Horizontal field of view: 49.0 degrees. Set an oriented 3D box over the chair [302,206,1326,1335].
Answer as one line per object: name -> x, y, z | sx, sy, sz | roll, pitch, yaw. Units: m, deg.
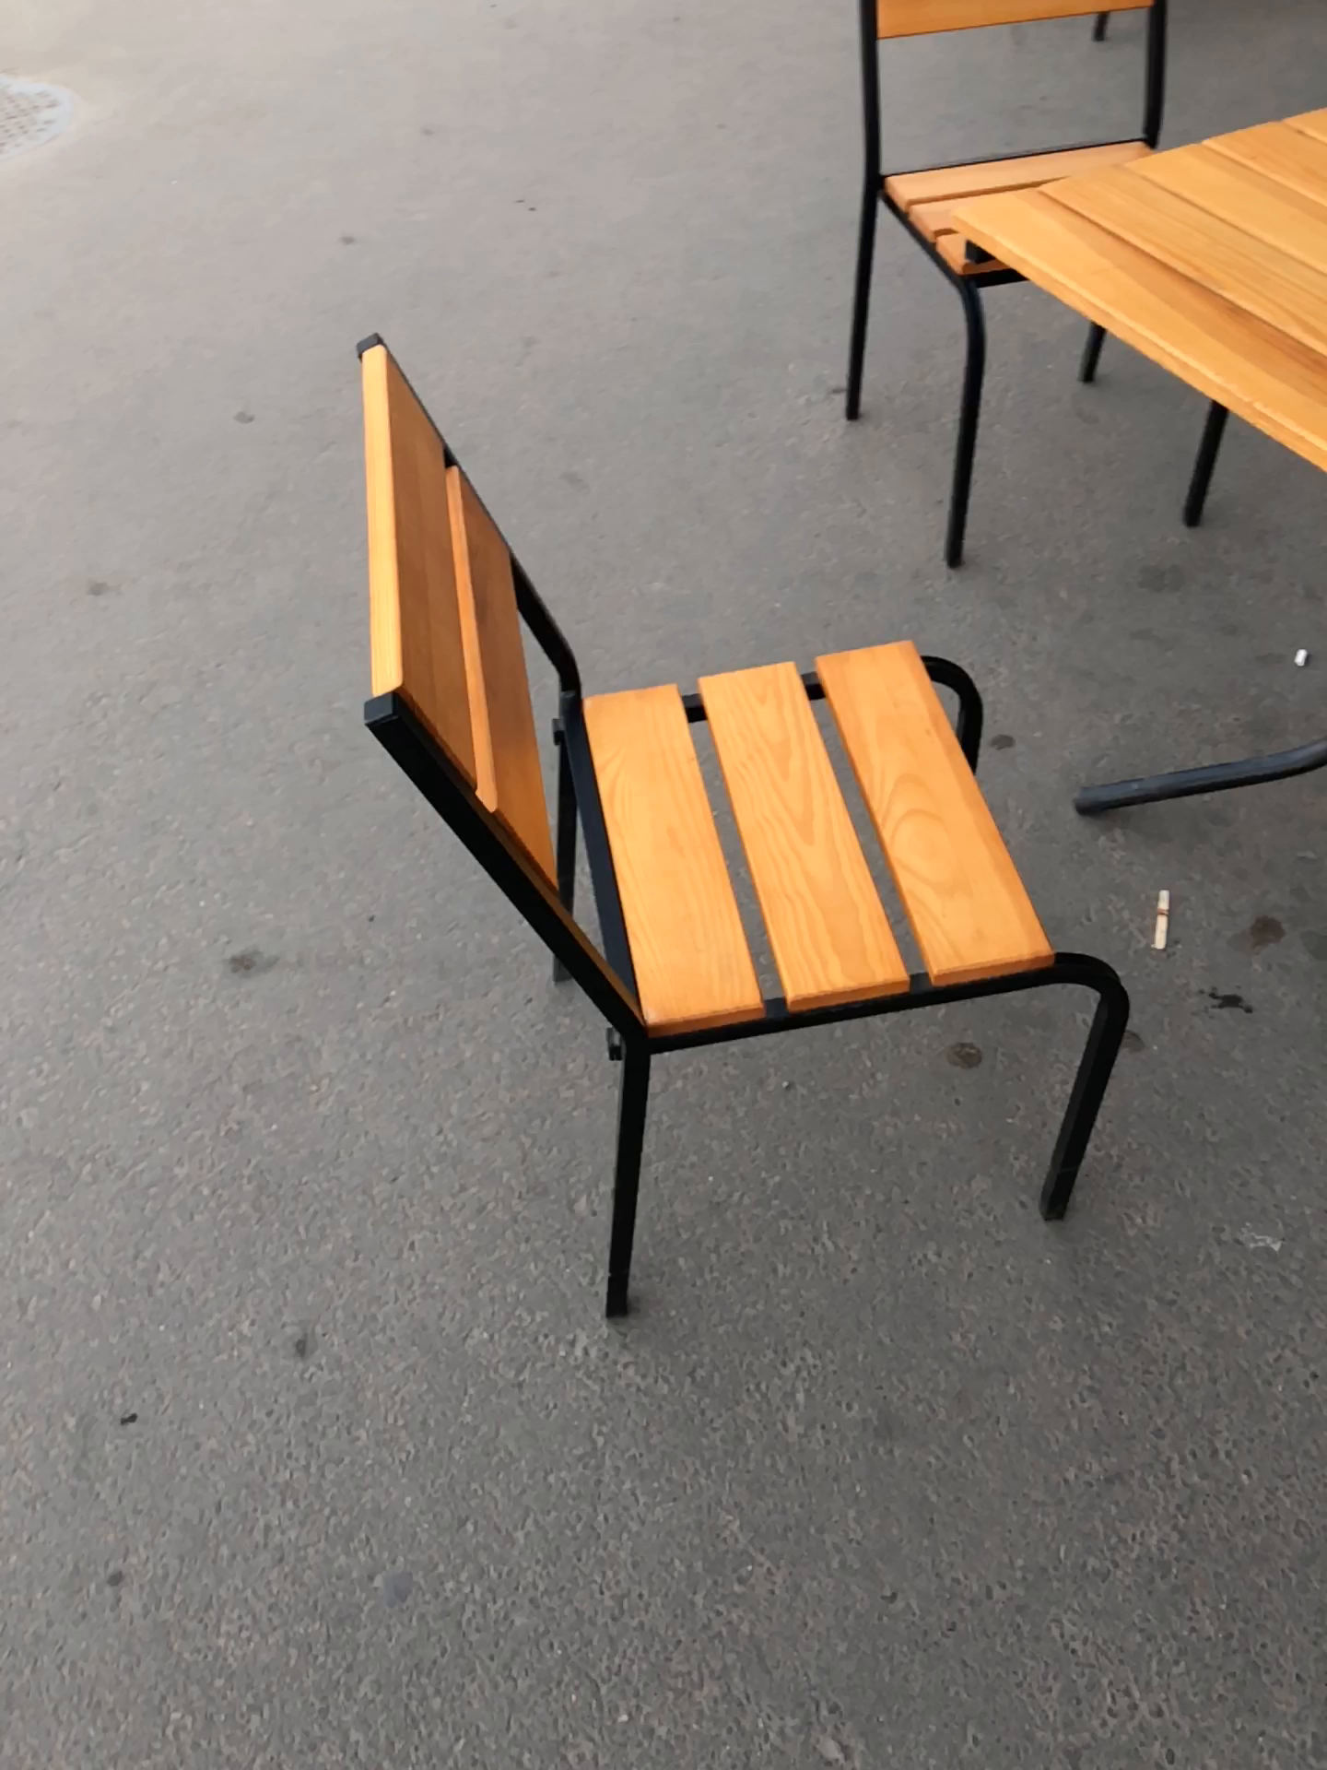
chair -> 0.078, -0.070, 1.125 | 0.550, 0.638, 0.492 | -8, 47, -3
